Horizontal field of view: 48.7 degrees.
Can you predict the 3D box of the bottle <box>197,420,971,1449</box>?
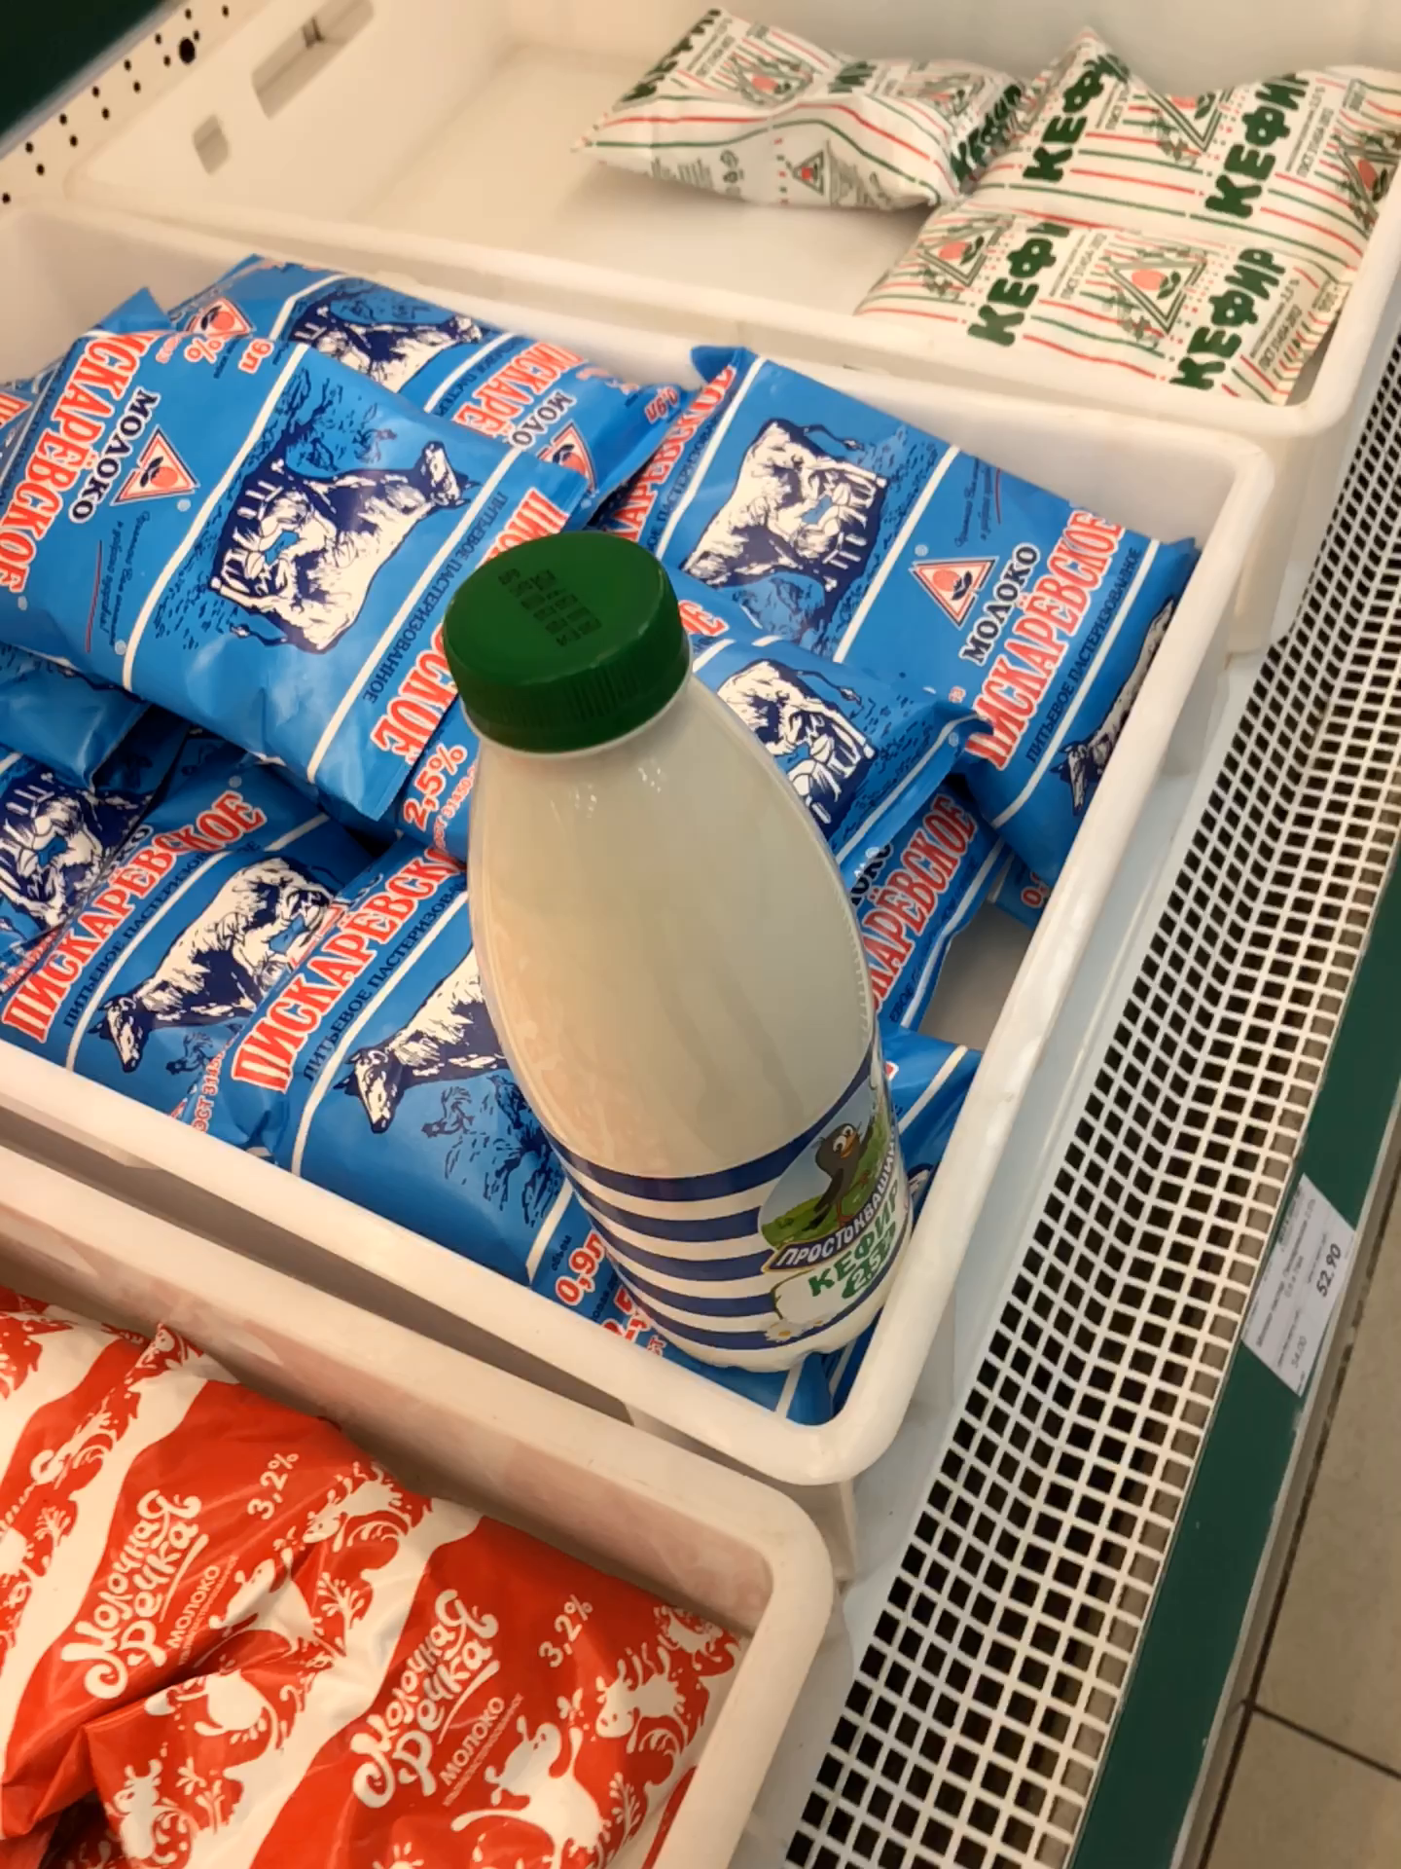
[{"bbox_3d":[-0.004,0.017,0.333,0.080,0.224,0.084,-7,53,9],"label":"bottle"}]
